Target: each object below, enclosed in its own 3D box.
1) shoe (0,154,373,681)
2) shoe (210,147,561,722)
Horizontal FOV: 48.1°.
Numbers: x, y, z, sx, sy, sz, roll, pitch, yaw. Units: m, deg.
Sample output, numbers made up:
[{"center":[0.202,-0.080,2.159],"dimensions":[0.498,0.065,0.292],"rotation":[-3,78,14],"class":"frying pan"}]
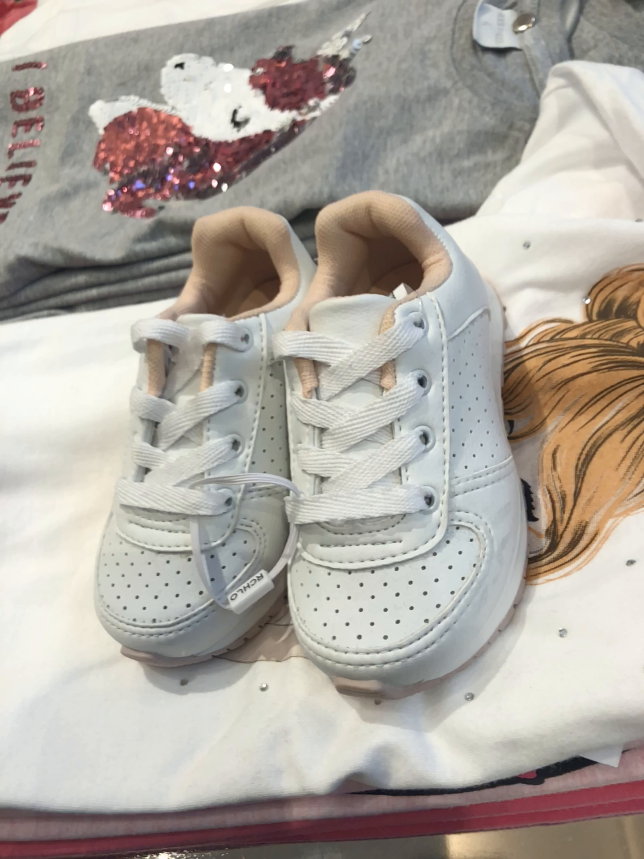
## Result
[{"center":[-0.043,-0.010,0.245],"dimensions":[0.080,0.060,0.160],"rotation":[7,67,18],"class":"shoe"},{"center":[0.025,-0.001,0.223],"dimensions":[0.080,0.060,0.161],"rotation":[-1,65,13],"class":"shoe"}]
